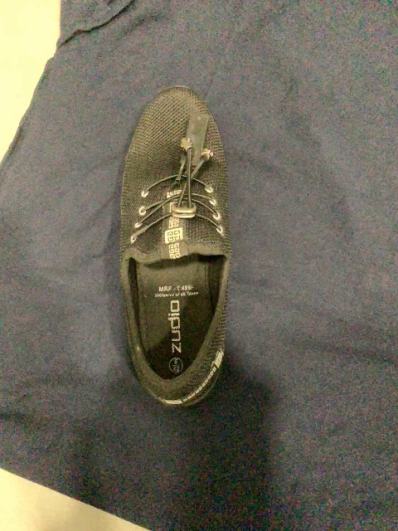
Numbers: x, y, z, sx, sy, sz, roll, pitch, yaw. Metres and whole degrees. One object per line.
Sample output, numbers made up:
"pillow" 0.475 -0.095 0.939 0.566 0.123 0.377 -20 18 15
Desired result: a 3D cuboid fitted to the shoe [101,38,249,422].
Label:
"shoe" -0.019 -0.029 0.353 0.100 0.090 0.290 -4 81 5
